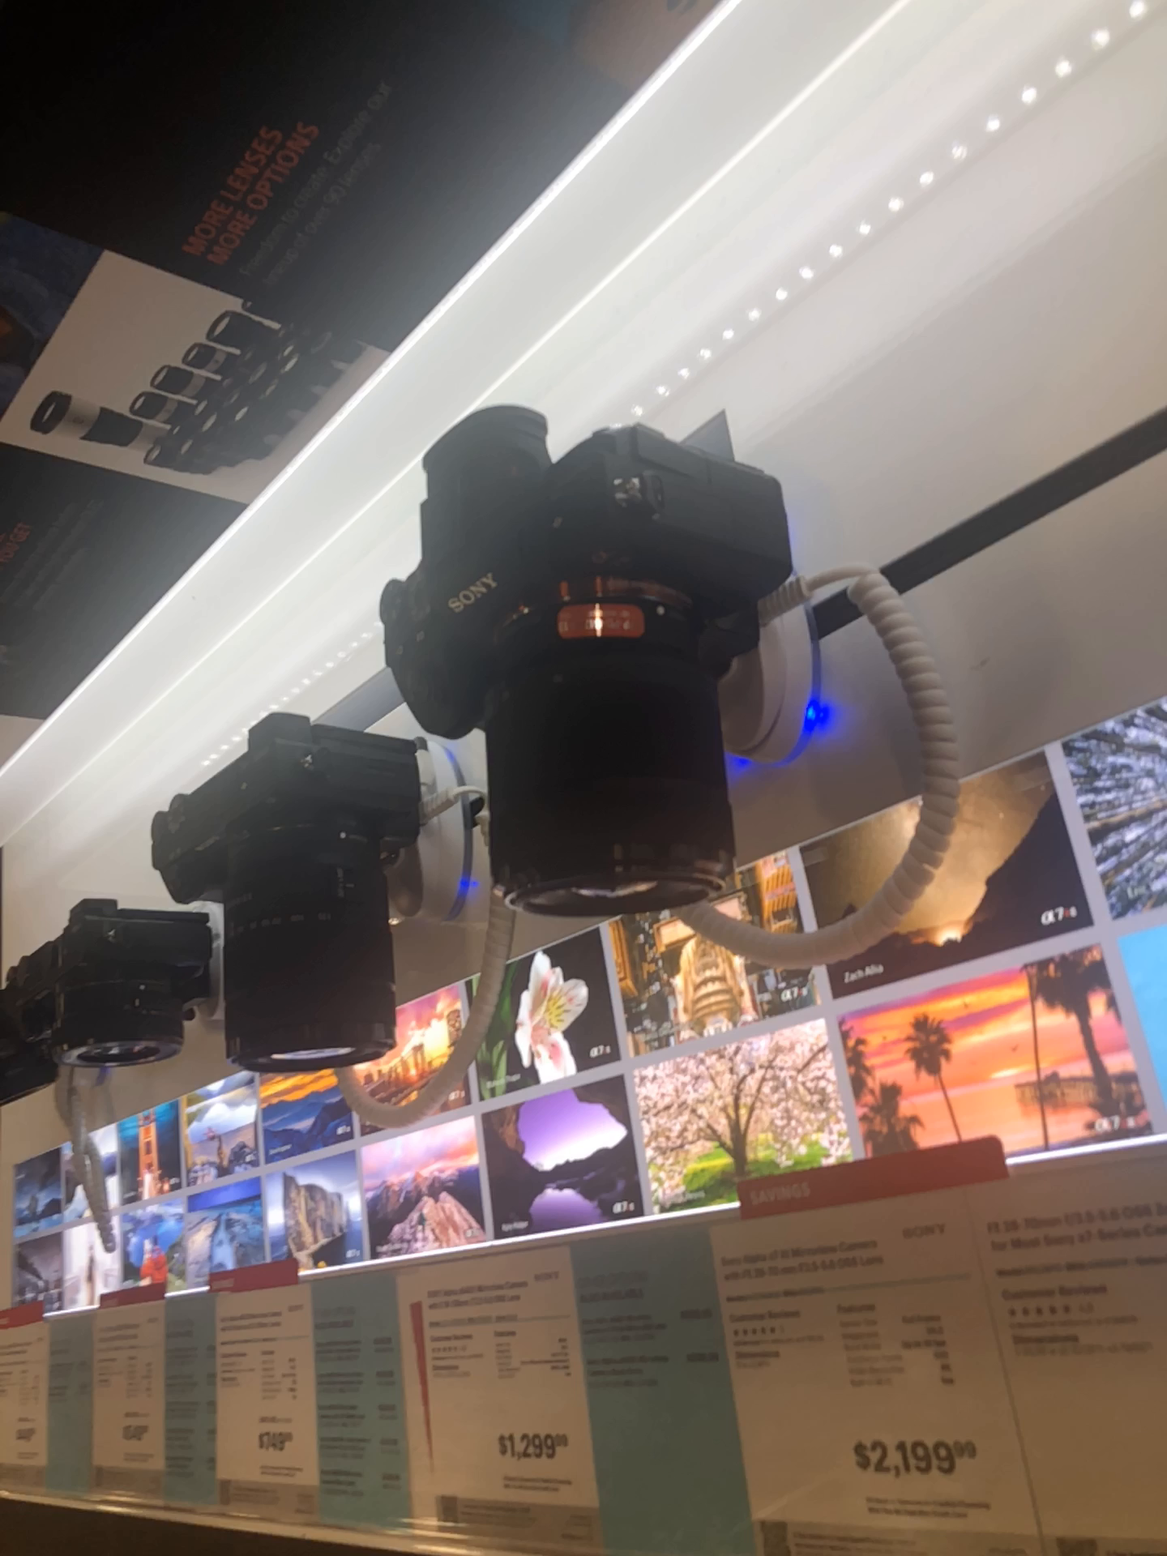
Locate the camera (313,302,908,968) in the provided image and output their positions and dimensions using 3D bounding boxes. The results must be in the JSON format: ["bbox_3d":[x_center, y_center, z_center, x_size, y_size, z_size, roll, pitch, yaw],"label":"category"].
[{"bbox_3d":[-0.001,-0.027,0.378,0.141,0.090,0.140,-24,66,45],"label":"camera"}]
